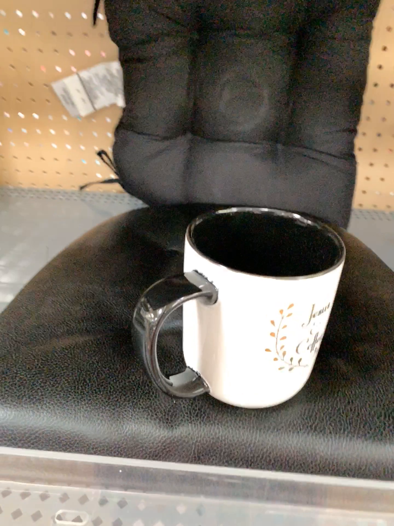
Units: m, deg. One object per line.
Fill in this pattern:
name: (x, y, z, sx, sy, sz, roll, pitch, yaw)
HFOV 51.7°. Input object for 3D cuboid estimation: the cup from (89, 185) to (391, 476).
cup: (0.023, 0.027, 0.261, 0.142, 0.104, 0.102, -18, 35, -29)
